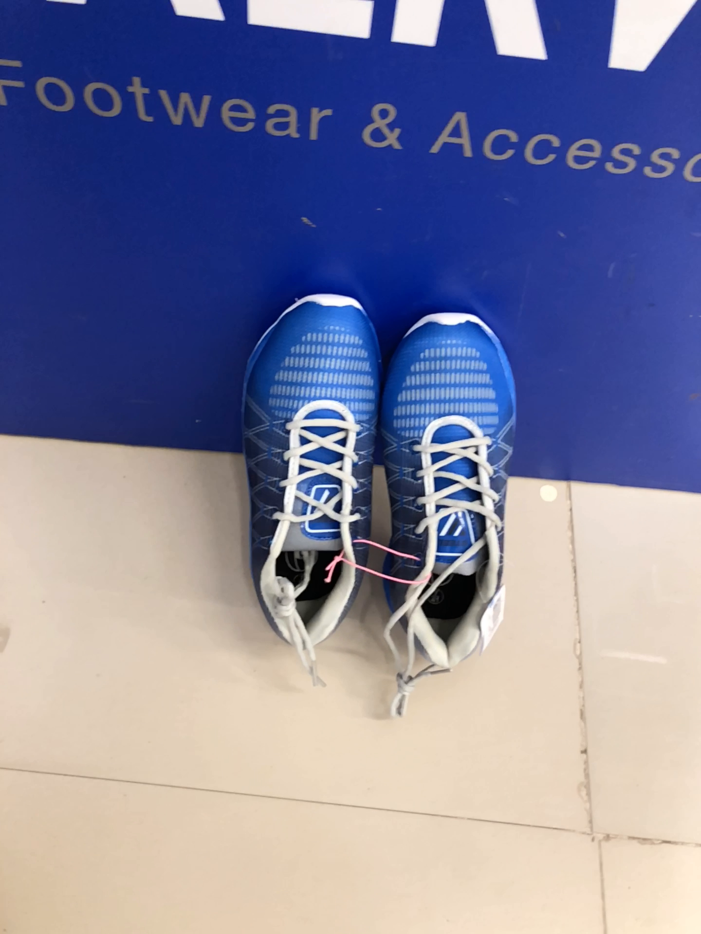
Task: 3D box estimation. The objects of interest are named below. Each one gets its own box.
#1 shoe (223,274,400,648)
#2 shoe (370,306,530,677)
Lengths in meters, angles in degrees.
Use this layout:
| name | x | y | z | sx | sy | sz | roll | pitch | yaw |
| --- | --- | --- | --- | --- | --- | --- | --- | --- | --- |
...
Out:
| name | x | y | z | sx | sy | sz | roll | pitch | yaw |
| --- | --- | --- | --- | --- | --- | --- | --- | --- | --- |
| shoe | -0.035 | -0.006 | 0.606 | 0.110 | 0.269 | 0.100 | 3 | 16 | -5 |
| shoe | 0.070 | 0.012 | 0.610 | 0.100 | 0.120 | 0.269 | 1 | 101 | -1 |
